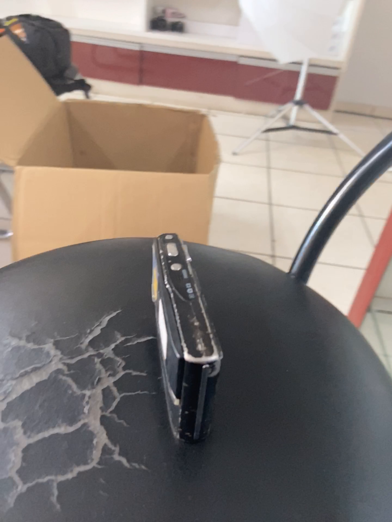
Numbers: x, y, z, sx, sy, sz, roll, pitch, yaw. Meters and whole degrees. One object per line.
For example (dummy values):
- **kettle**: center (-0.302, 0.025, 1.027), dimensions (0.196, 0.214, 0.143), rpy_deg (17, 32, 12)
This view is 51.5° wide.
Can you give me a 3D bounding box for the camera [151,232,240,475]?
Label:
- **camera**: center (-0.006, 0.039, 0.201), dimensions (0.020, 0.060, 0.101), rpy_deg (-3, 37, -12)
